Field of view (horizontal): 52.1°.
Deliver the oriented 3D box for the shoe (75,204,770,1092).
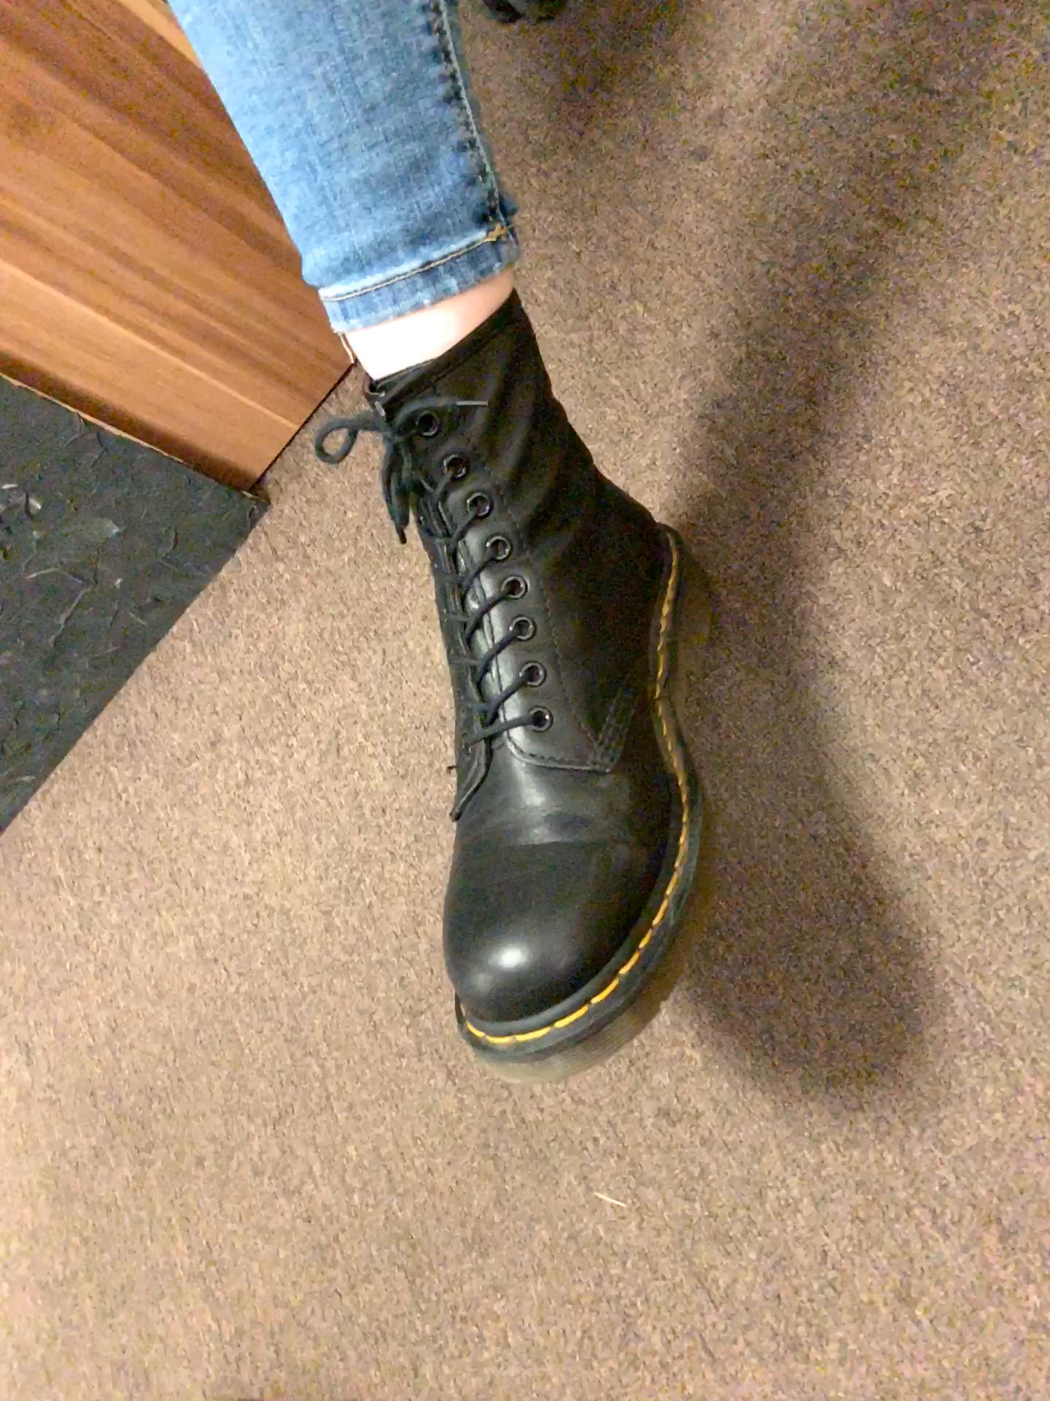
[{"bbox_3d":[-0.005,-0.028,0.404,0.120,0.150,0.290,-15,40,32],"label":"shoe"}]
